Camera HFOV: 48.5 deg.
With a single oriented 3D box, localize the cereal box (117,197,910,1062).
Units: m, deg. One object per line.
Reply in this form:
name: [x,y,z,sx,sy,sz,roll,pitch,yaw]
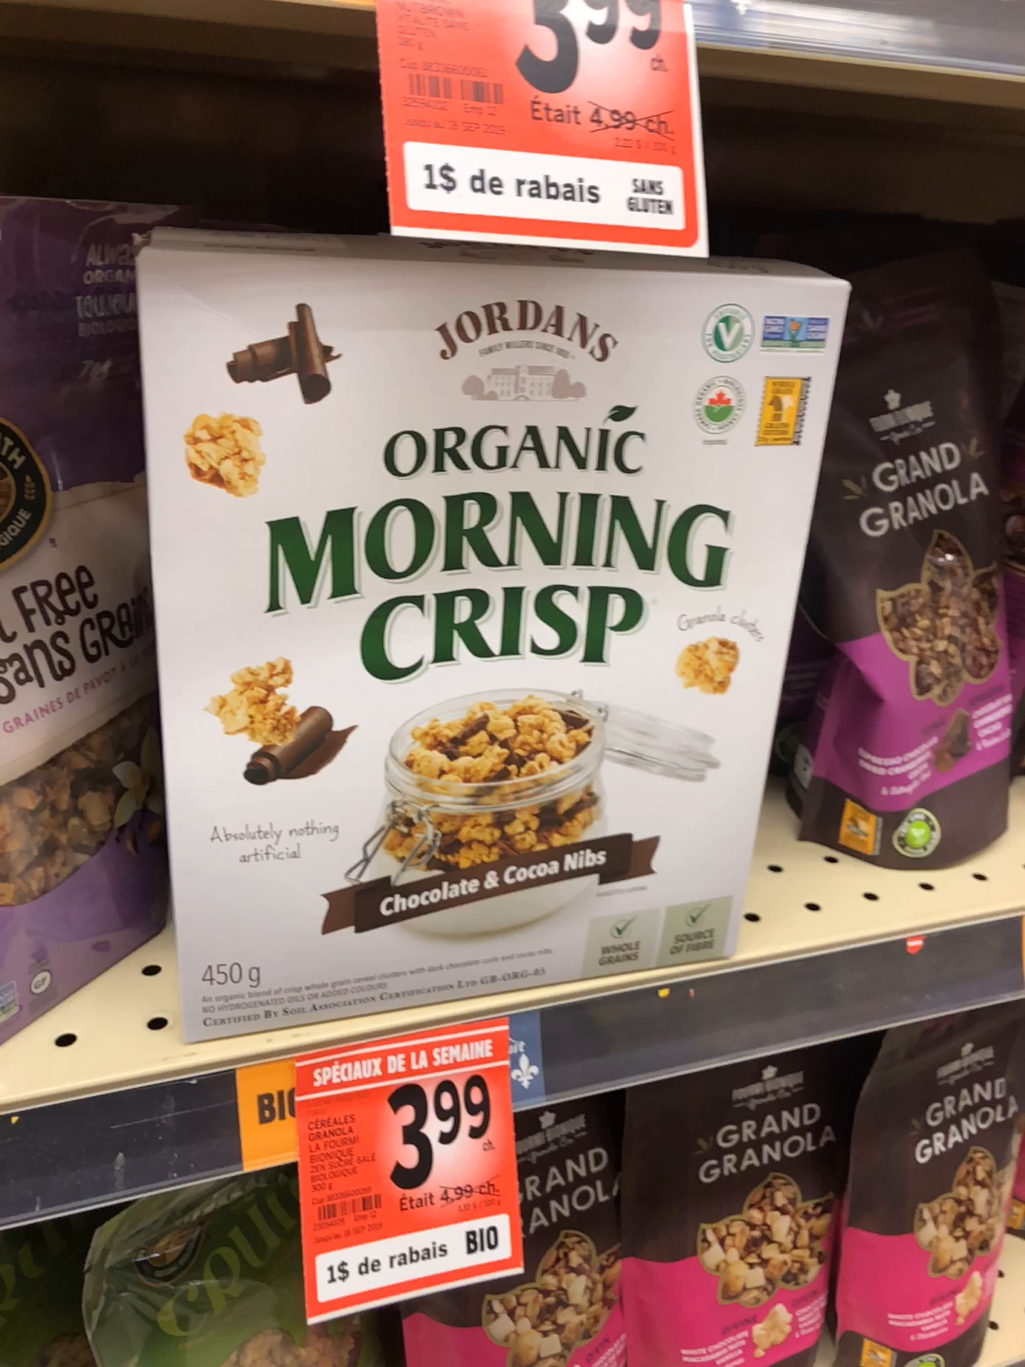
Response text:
cereal box: [-0.004,-0.012,0.308,0.180,0.209,0.050,-4,25,-18]
